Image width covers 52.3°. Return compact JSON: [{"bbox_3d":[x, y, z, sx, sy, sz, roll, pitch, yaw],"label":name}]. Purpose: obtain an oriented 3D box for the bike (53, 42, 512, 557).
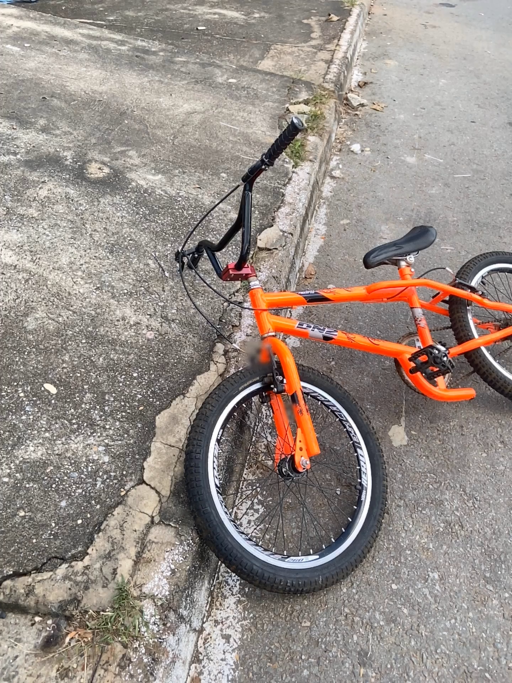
[{"bbox_3d":[0.311,-0.254,1.464,1.357,0.857,0.748,-20,46,-27],"label":"bike"}]
